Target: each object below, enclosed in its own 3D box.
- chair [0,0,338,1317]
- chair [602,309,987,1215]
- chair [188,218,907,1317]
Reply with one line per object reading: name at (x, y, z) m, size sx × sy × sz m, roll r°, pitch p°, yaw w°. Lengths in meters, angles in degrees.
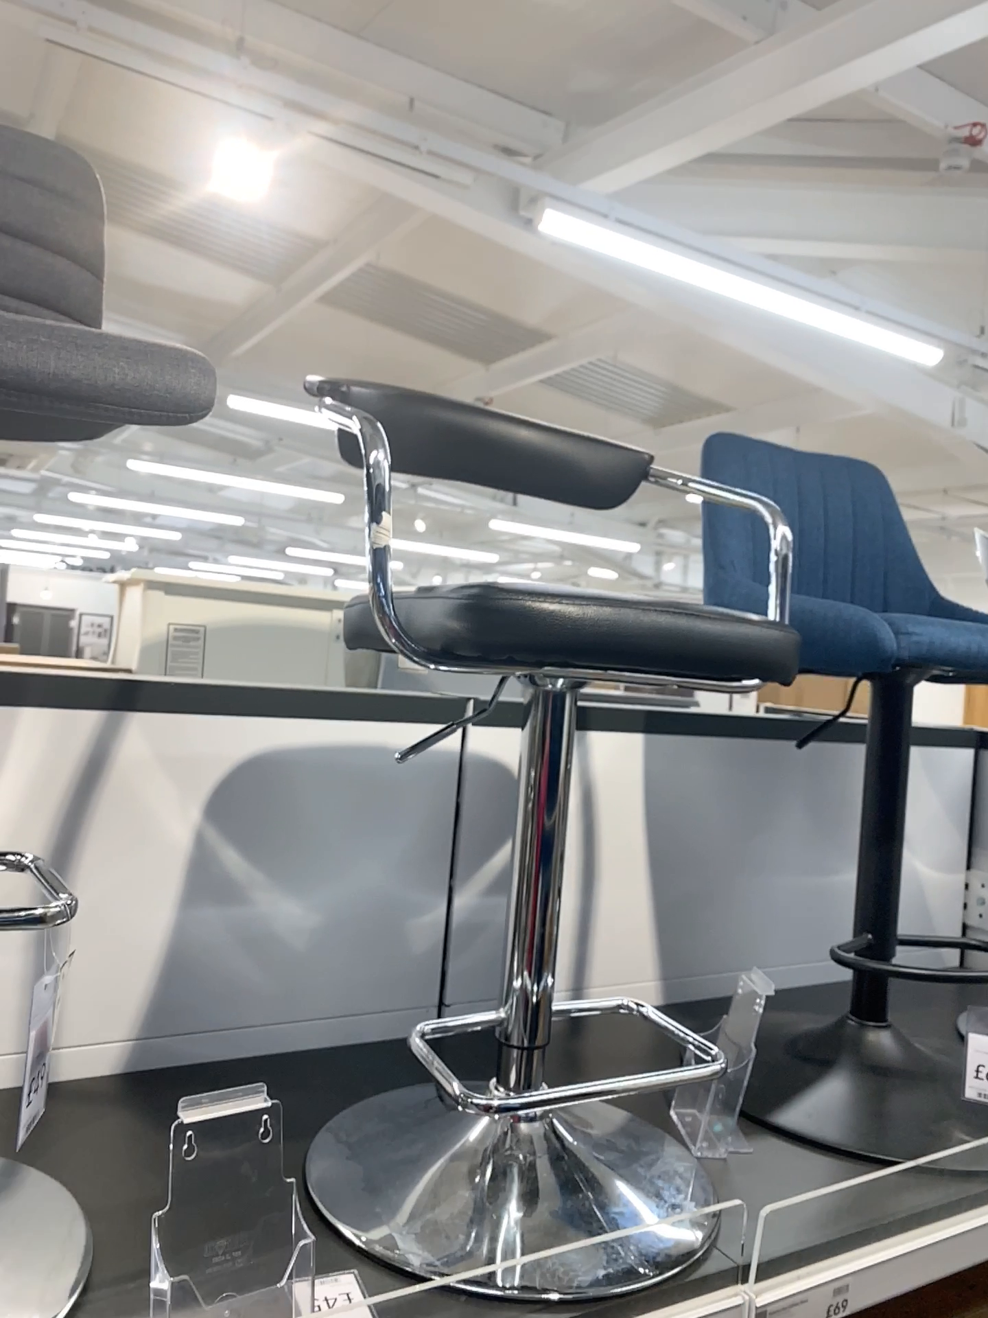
chair at (-0.508, -0.037, 0.819) m, size 0.511 × 1.064 × 0.466 m, roll 6°, pitch -1°, yaw -34°
chair at (0.561, 0.111, 1.434) m, size 0.521 × 0.954 × 0.536 m, roll 6°, pitch -1°, yaw -30°
chair at (0.043, 0.106, 1.079) m, size 0.511 × 0.854 × 0.466 m, roll 6°, pitch -1°, yaw -34°
